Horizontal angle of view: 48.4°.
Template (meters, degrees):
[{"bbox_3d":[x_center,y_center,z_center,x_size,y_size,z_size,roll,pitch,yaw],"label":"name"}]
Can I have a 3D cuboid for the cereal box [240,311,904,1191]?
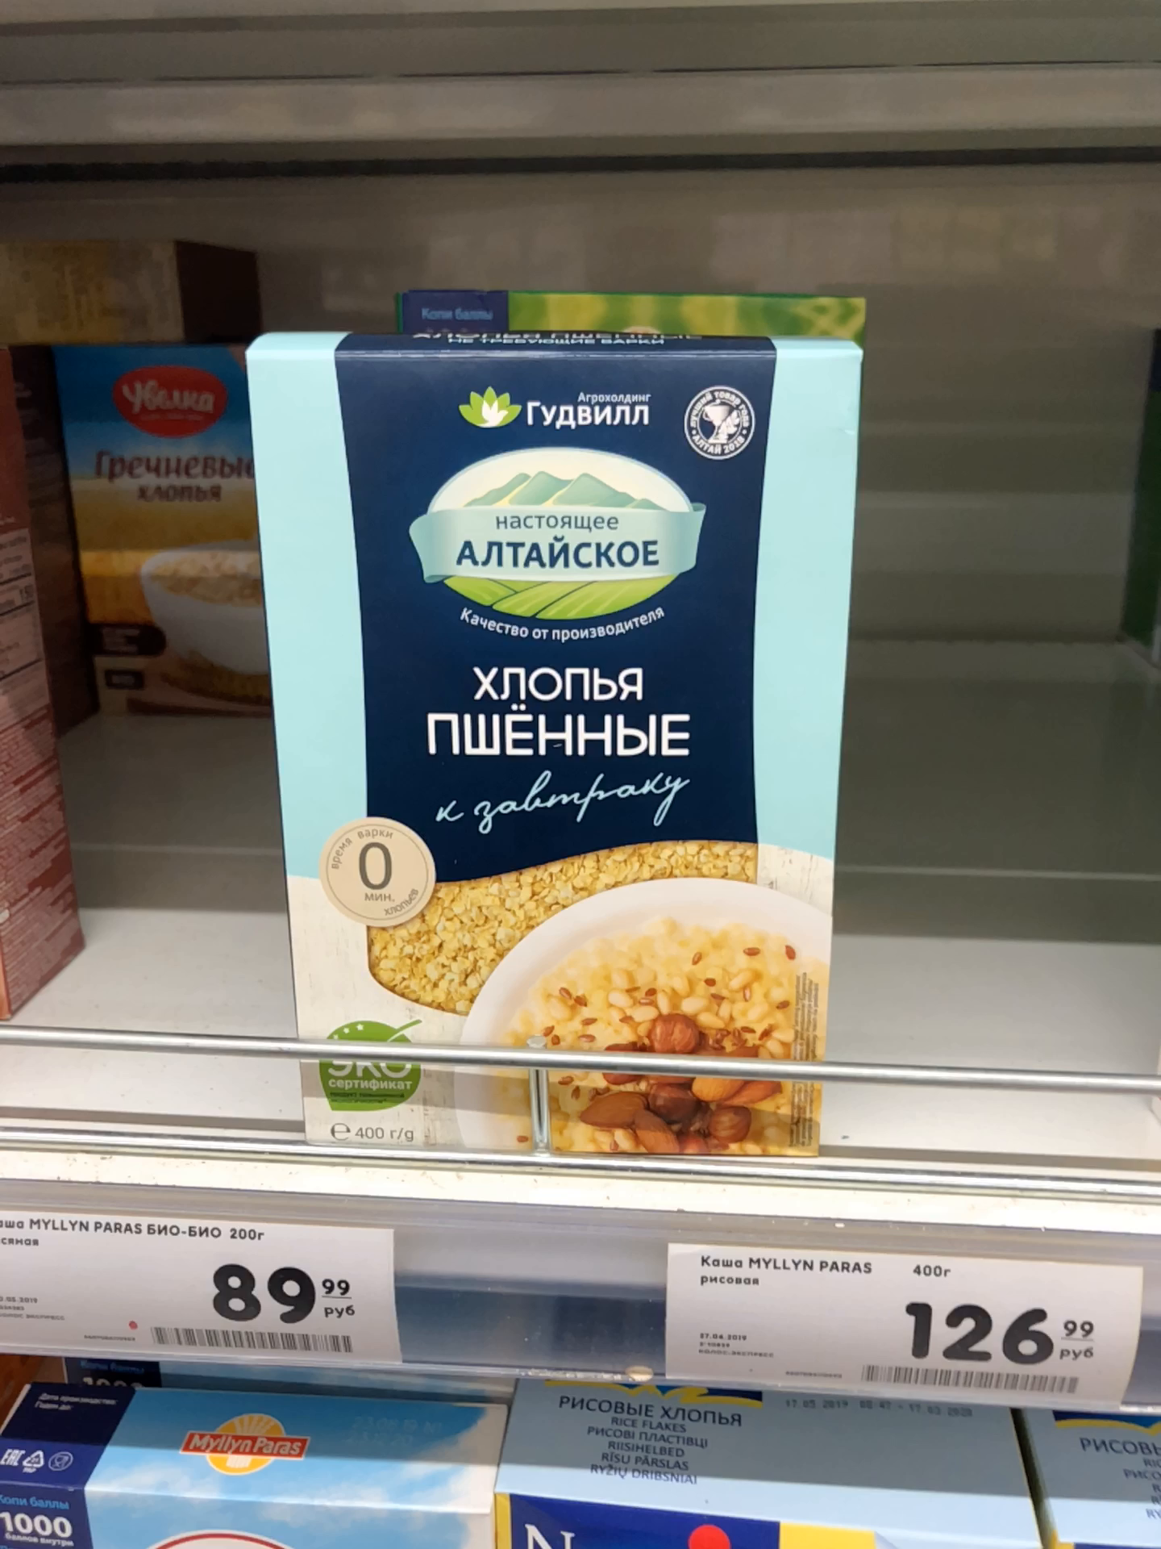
[{"bbox_3d":[0.000,-0.005,0.312,0.130,0.199,0.060,0,18,2],"label":"cereal box"}]
